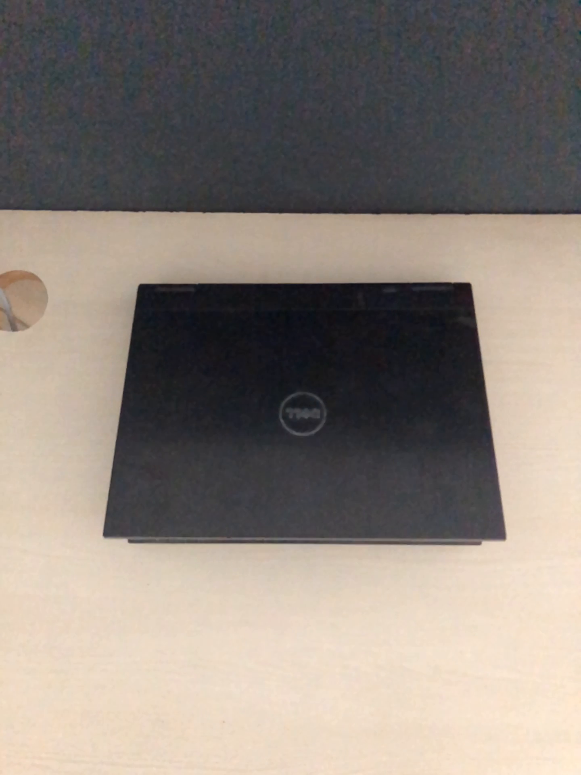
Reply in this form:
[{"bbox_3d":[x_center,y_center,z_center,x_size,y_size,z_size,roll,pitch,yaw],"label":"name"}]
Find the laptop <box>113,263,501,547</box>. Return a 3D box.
[{"bbox_3d":[0.014,0.017,0.545,0.302,0.065,0.230,0,81,2],"label":"laptop"}]
